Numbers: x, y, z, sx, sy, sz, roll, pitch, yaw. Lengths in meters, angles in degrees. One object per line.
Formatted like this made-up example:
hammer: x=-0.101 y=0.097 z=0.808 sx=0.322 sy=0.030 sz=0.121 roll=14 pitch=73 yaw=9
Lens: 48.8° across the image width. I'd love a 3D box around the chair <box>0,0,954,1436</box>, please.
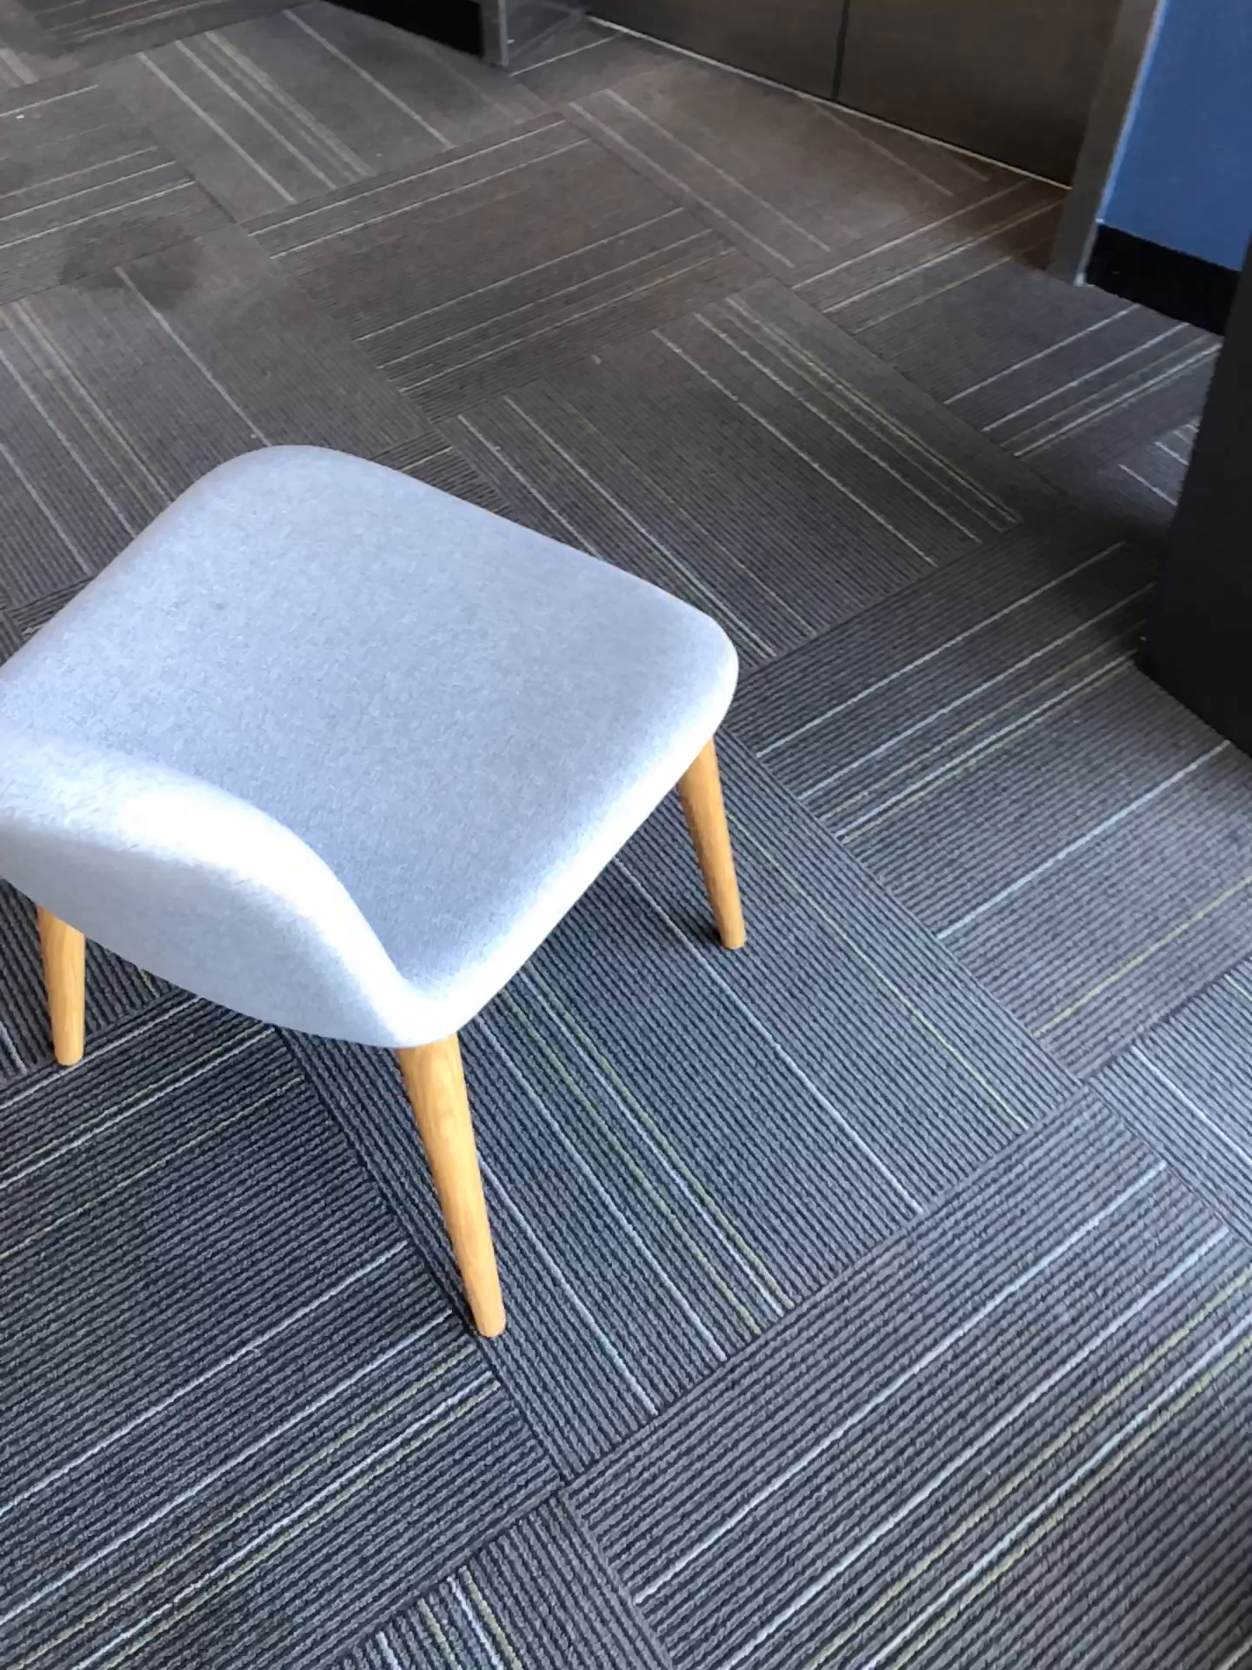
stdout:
chair: x=-0.228 y=-0.089 z=0.994 sx=0.561 sy=0.847 sz=0.611 roll=28 pitch=62 yaw=19
